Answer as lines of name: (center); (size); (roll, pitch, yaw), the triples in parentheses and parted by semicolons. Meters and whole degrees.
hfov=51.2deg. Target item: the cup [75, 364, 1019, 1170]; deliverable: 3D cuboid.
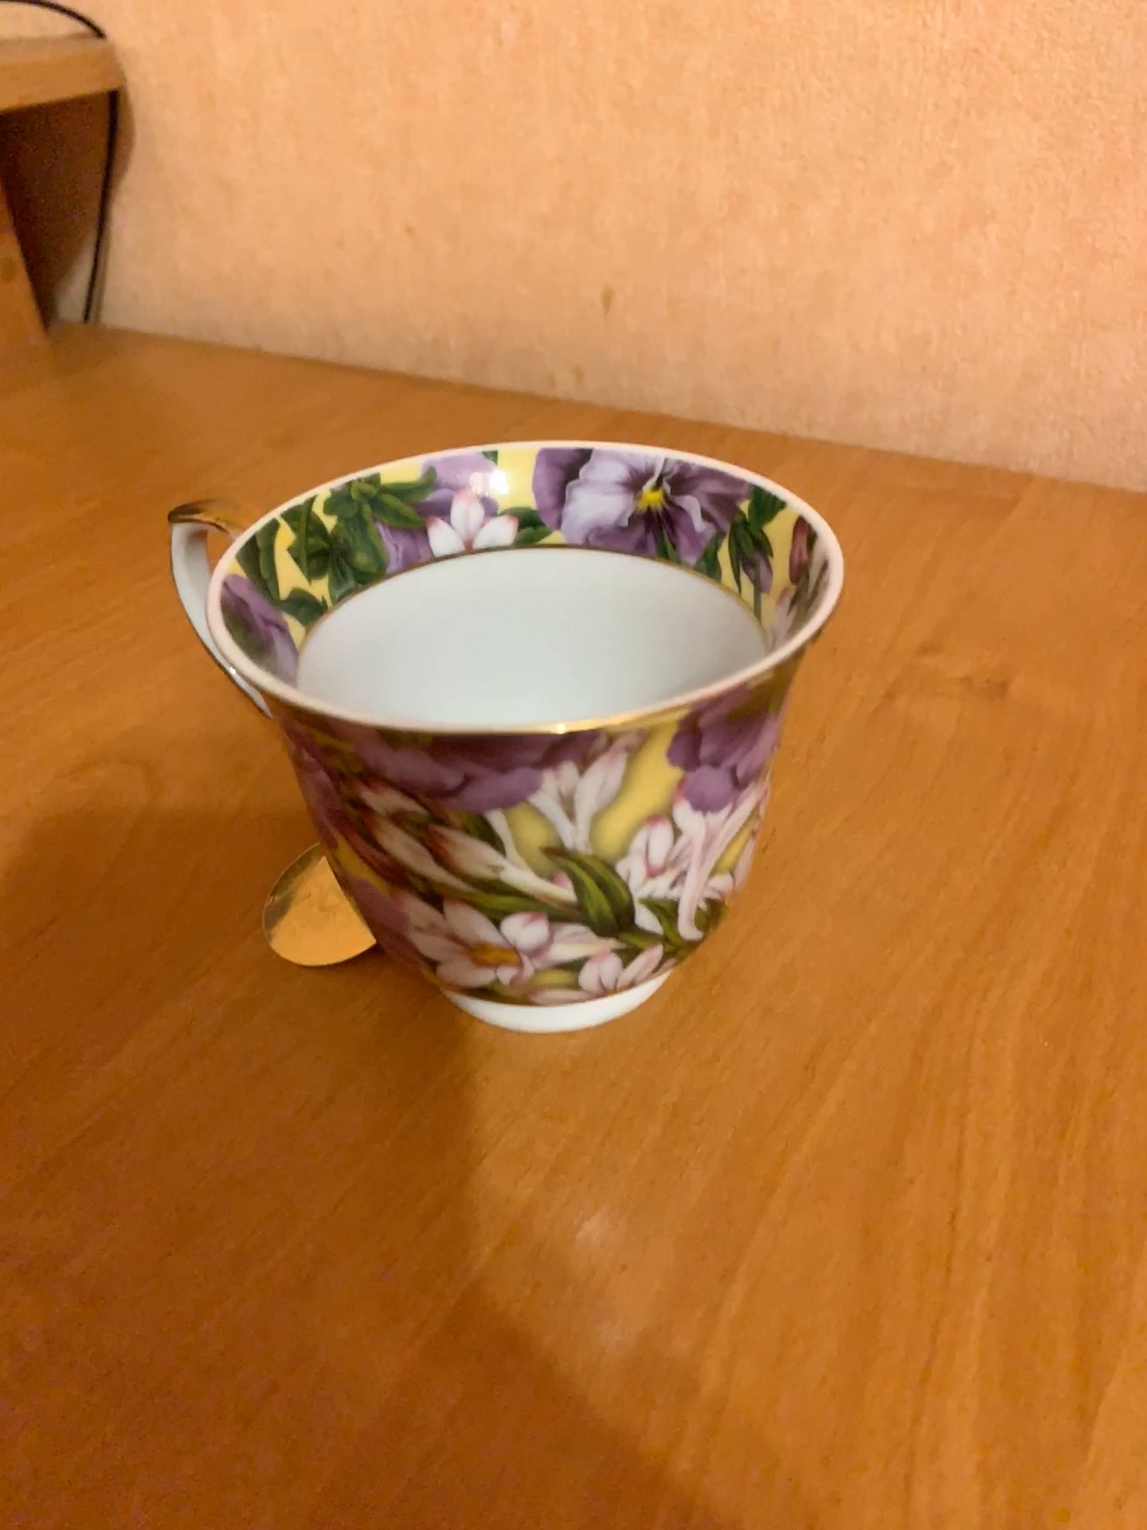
cup: (-0.002, -0.011, 0.188); (0.109, 0.069, 0.077); (19, 40, 28)
